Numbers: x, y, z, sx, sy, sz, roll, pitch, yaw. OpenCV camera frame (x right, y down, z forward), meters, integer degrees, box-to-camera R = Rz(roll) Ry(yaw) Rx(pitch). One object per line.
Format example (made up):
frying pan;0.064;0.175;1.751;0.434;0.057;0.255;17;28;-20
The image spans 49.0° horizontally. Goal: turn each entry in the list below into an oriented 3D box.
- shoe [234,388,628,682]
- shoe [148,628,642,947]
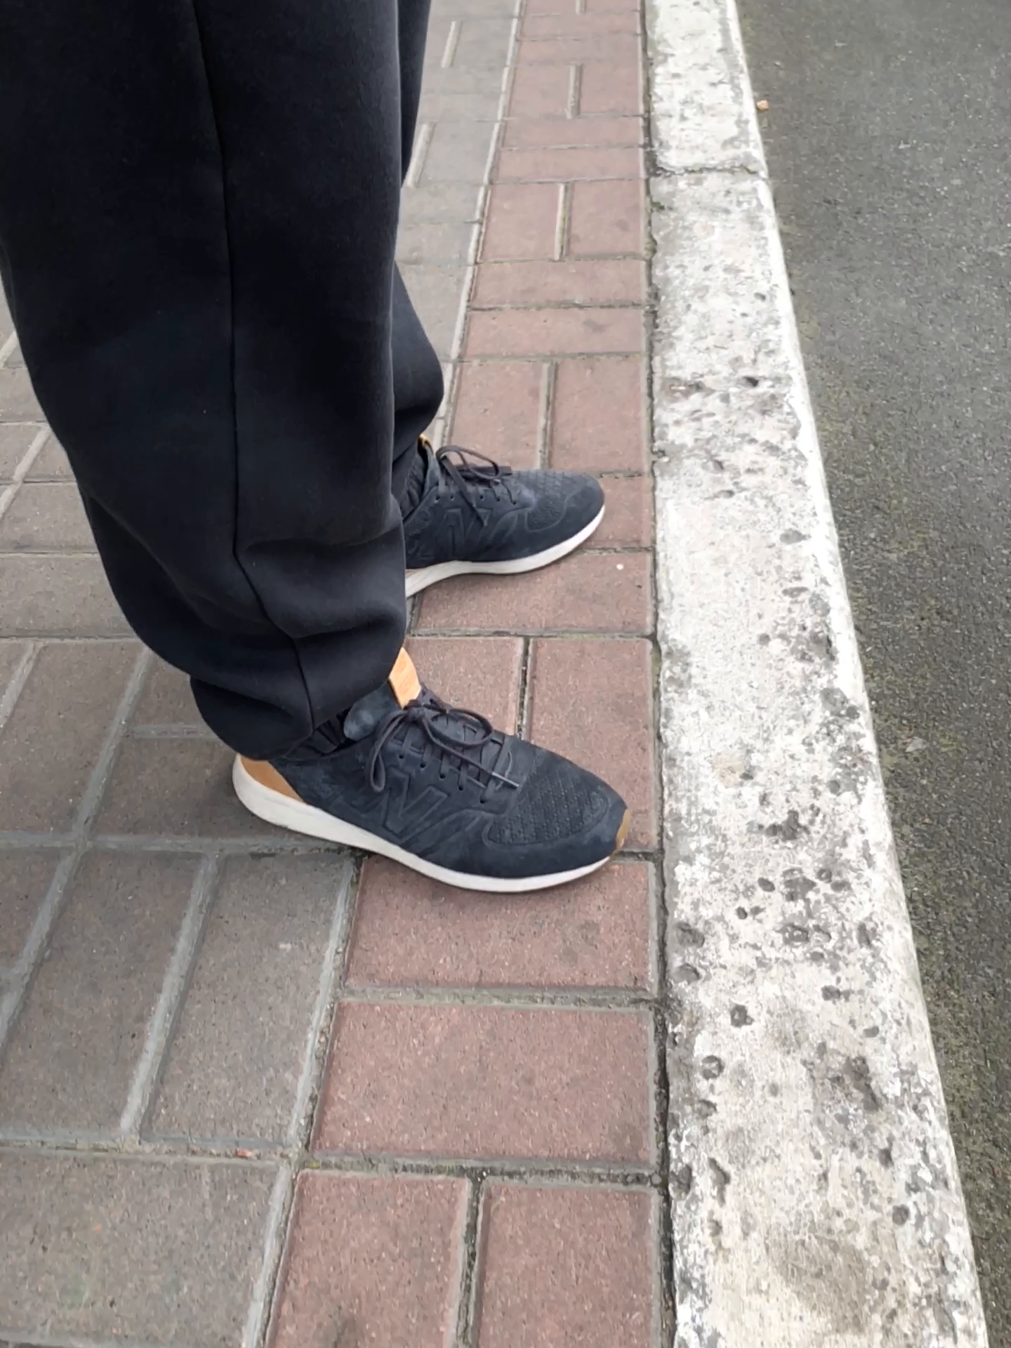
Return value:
shoe;-0.053;-0.113;0.877;0.280;0.109;0.105;-20;48;-12
shoe;-0.063;0.067;0.705;0.280;0.109;0.105;10;50;16
